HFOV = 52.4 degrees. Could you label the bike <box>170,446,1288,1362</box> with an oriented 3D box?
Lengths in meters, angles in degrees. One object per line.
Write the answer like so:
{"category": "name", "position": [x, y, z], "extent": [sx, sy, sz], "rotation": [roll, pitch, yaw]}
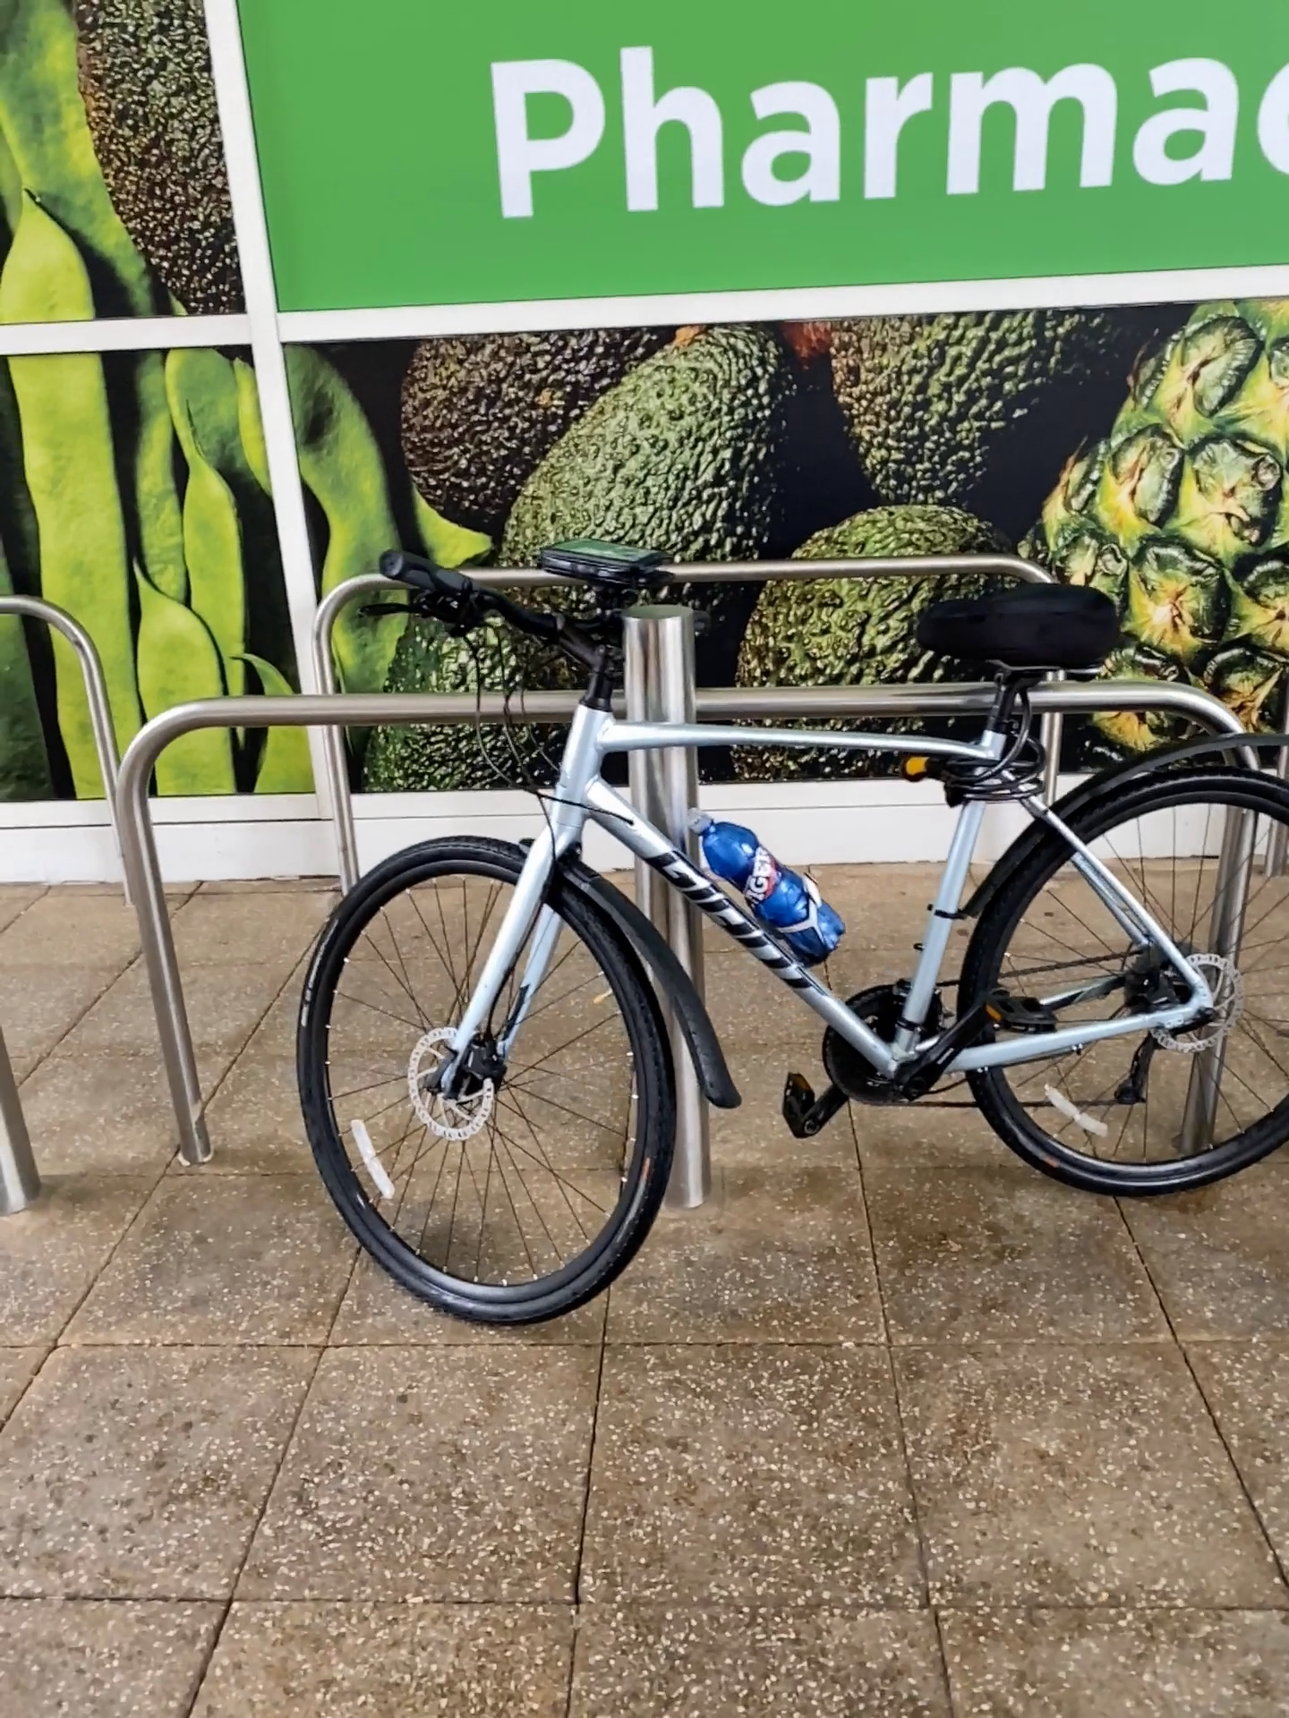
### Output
{"category": "bike", "position": [0.268, 0.008, 1.723], "extent": [1.461, 0.963, 0.608], "rotation": [-4, 21, -3]}
